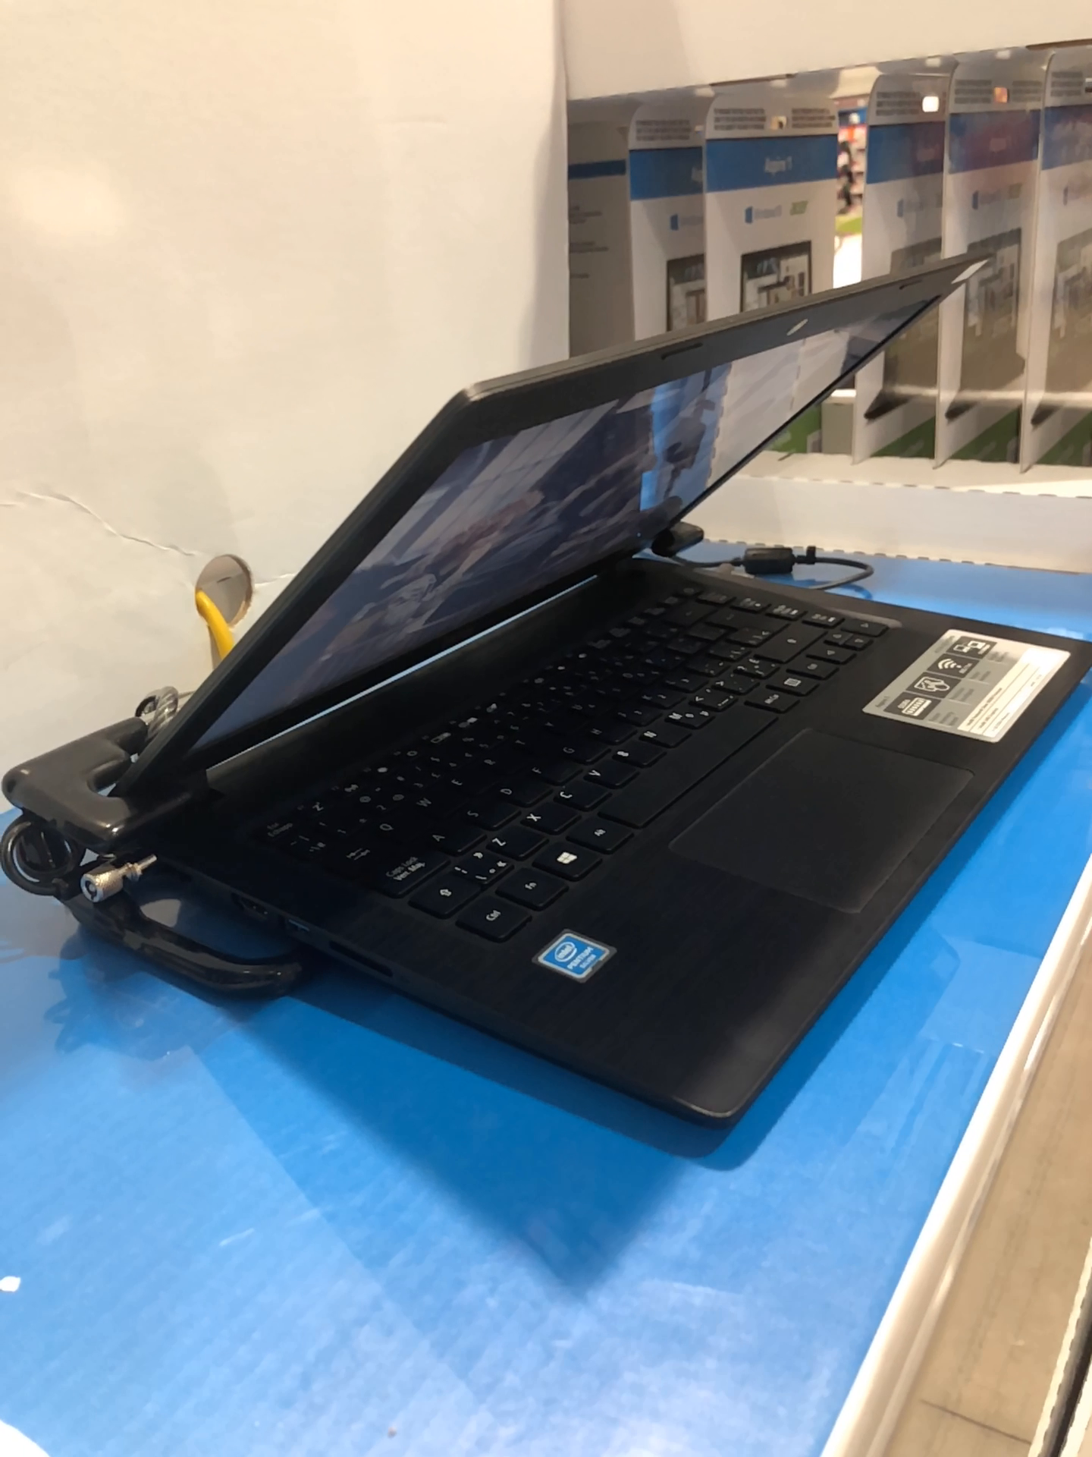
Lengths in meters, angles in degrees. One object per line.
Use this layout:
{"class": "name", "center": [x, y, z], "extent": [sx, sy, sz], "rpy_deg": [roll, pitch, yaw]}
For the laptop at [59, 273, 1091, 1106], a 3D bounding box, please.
{"class": "laptop", "center": [0.052, -0.064, 0.433], "extent": [0.206, 0.145, 0.334], "rpy_deg": [16, 31, 33]}
